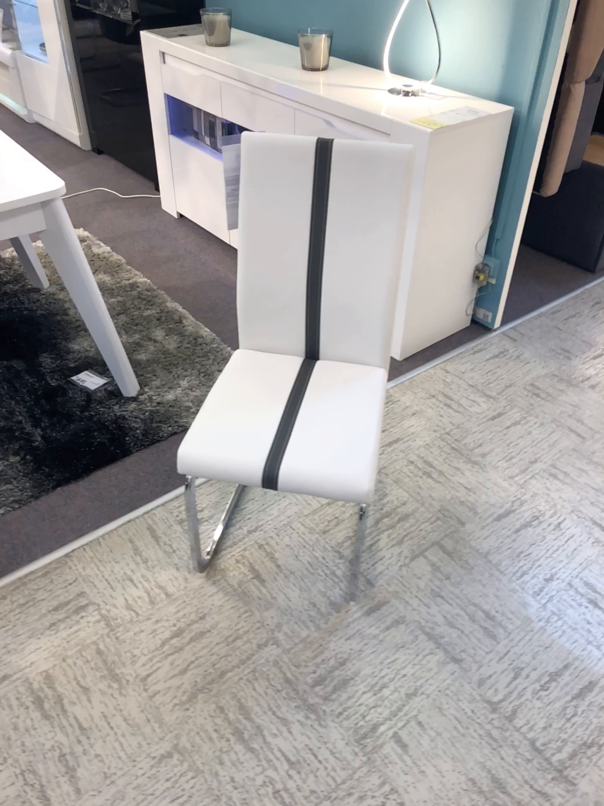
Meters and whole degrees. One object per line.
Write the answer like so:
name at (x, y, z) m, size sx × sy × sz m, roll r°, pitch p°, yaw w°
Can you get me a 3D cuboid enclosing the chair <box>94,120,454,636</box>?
chair at (-0.006, -0.049, 1.417) m, size 0.487 × 0.878 × 0.573 m, roll 9°, pitch 39°, yaw 11°
